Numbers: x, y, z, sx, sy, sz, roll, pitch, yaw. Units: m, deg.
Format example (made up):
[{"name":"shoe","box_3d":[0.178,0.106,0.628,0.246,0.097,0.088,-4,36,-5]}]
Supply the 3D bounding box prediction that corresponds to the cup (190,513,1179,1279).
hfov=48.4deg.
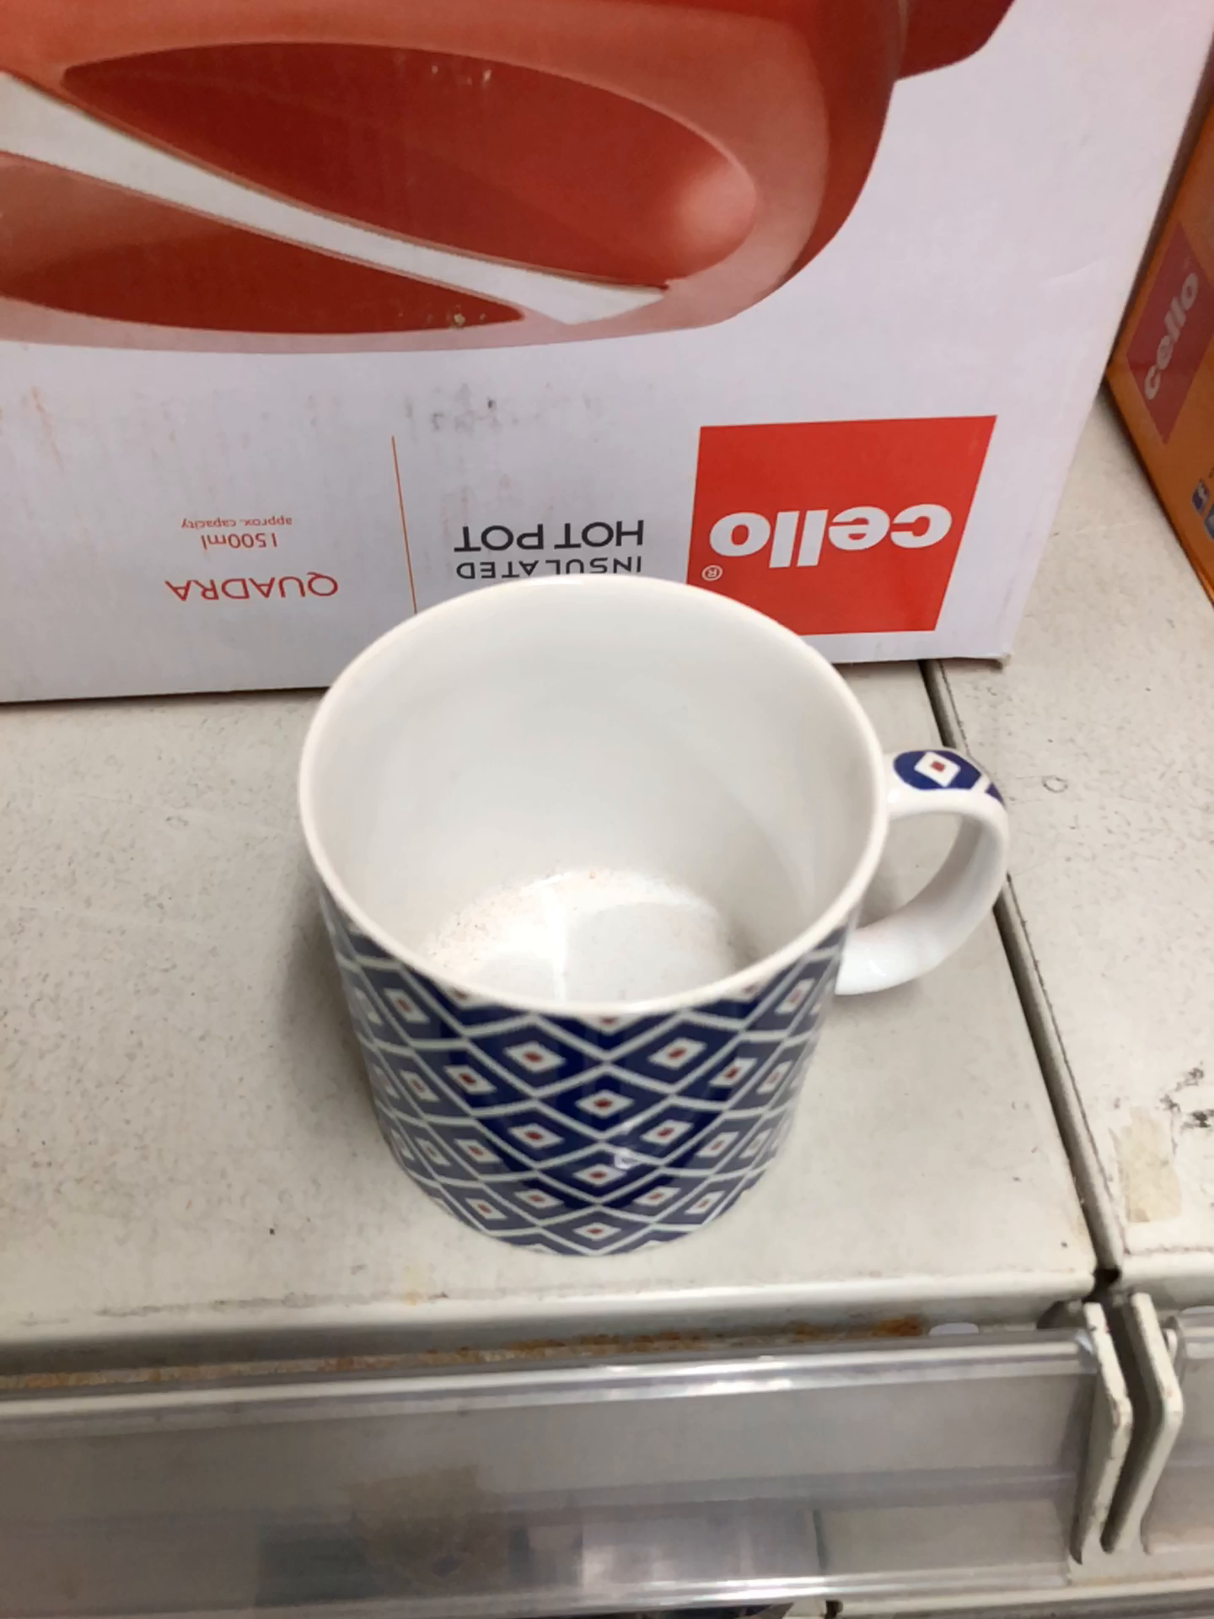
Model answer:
[{"name":"cup","box_3d":[0.006,0.014,0.205,0.110,0.080,0.080,-2,50,-4]}]
